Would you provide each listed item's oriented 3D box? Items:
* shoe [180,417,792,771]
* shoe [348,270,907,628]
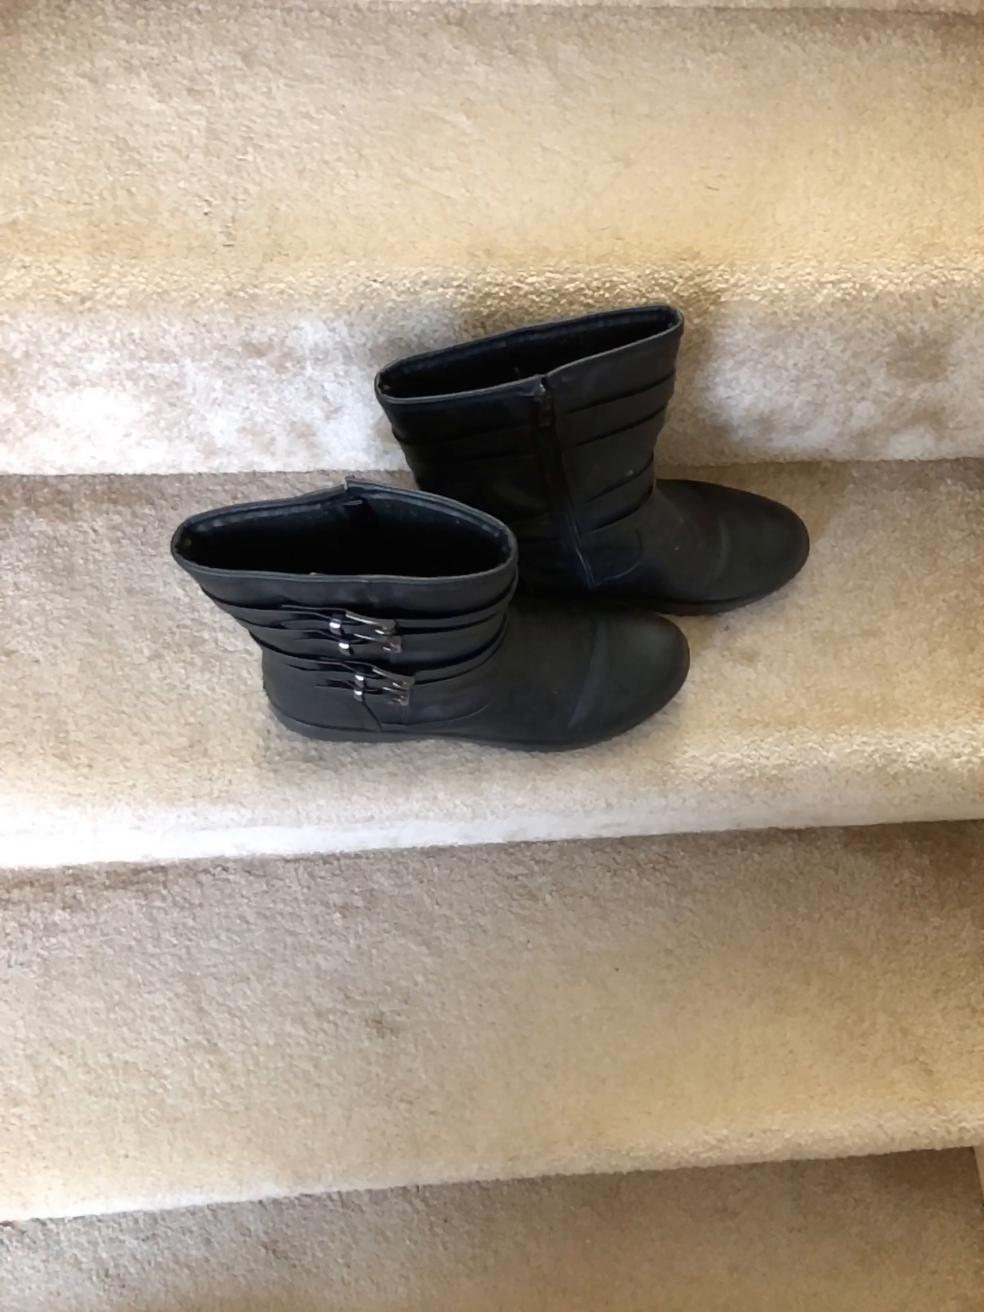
[{"bbox_3d":[-0.007,-0.021,0.587,0.270,0.199,0.100,2,65,-3],"label":"shoe"},{"bbox_3d":[0.068,-0.110,0.643,0.270,0.219,0.100,0,65,1],"label":"shoe"}]
